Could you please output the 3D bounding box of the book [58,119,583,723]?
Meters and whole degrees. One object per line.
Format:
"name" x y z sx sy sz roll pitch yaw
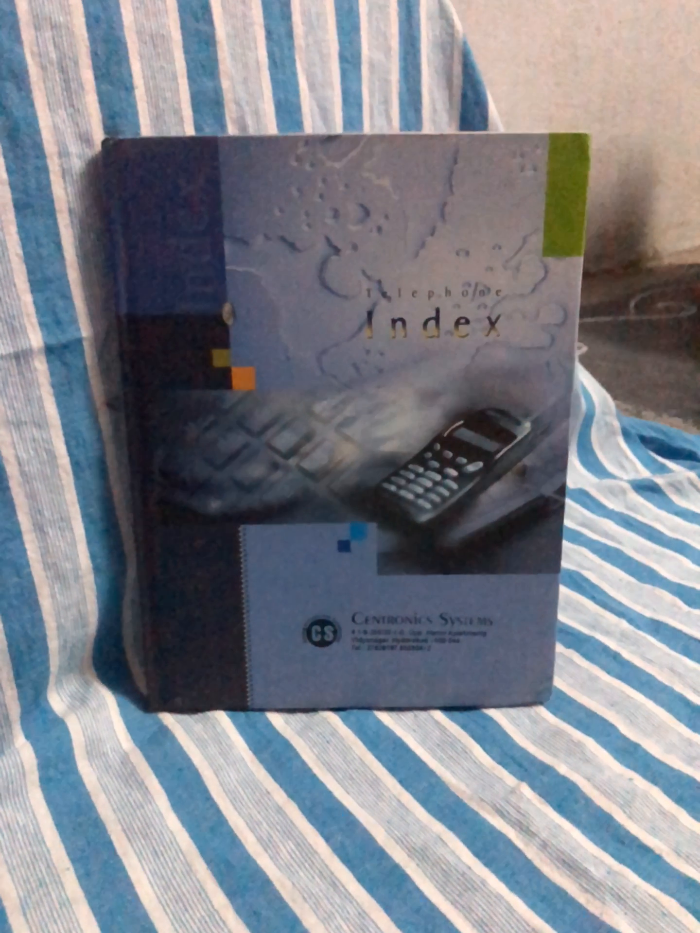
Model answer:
"book" -0.010 -0.009 0.331 0.193 0.253 0.023 0 16 -1
